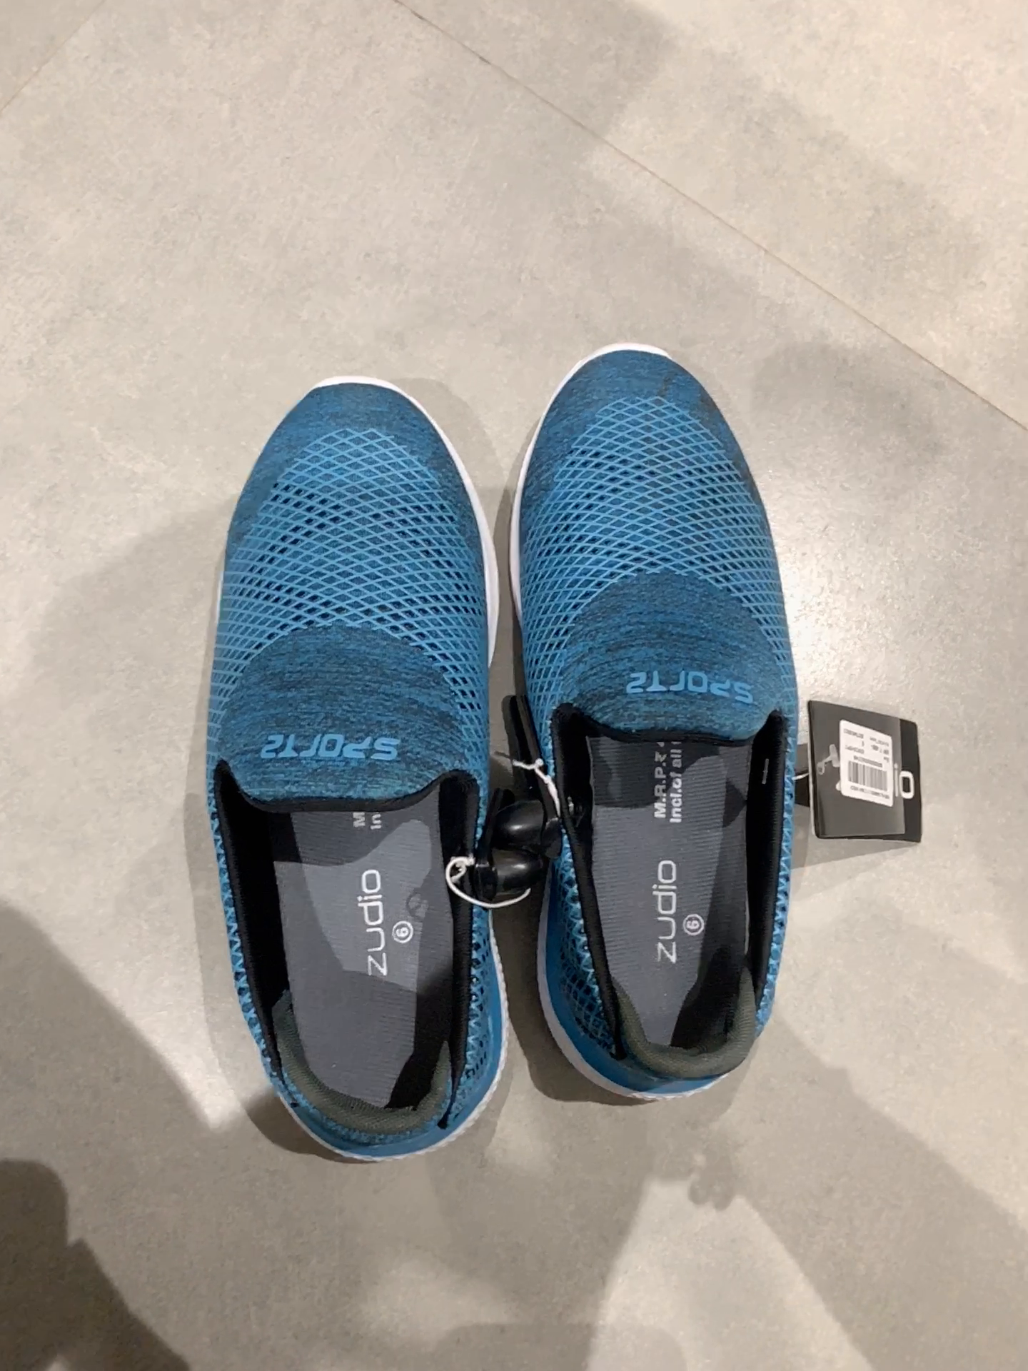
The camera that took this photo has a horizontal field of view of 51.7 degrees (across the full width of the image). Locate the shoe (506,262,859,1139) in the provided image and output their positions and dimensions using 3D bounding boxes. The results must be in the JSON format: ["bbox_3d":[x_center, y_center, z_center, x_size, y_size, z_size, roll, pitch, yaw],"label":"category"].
[{"bbox_3d":[0.045,0.002,0.341,0.090,0.080,0.250,0,82,-3],"label":"shoe"}]

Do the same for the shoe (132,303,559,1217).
[{"bbox_3d":[-0.054,0.018,0.350,0.110,0.080,0.260,-4,82,-3],"label":"shoe"}]
